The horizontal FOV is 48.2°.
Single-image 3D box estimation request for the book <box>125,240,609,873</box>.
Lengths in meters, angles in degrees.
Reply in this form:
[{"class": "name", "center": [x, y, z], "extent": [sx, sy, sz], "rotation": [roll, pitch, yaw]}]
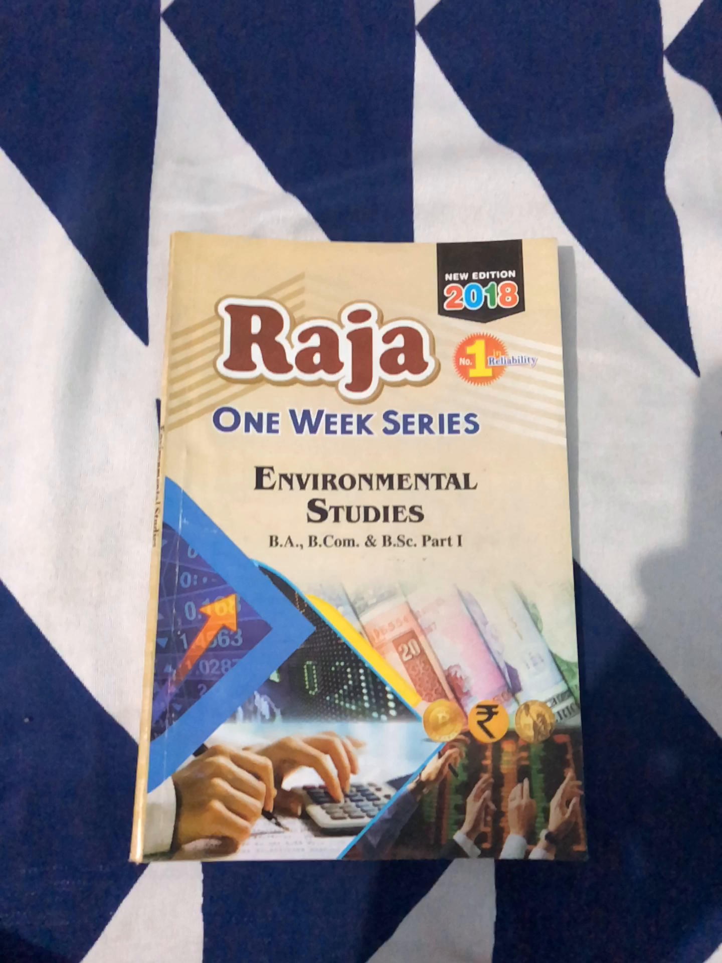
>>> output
[{"class": "book", "center": [0.002, 0.016, 0.261], "extent": [0.140, 0.010, 0.200], "rotation": [0, 77, 0]}]
